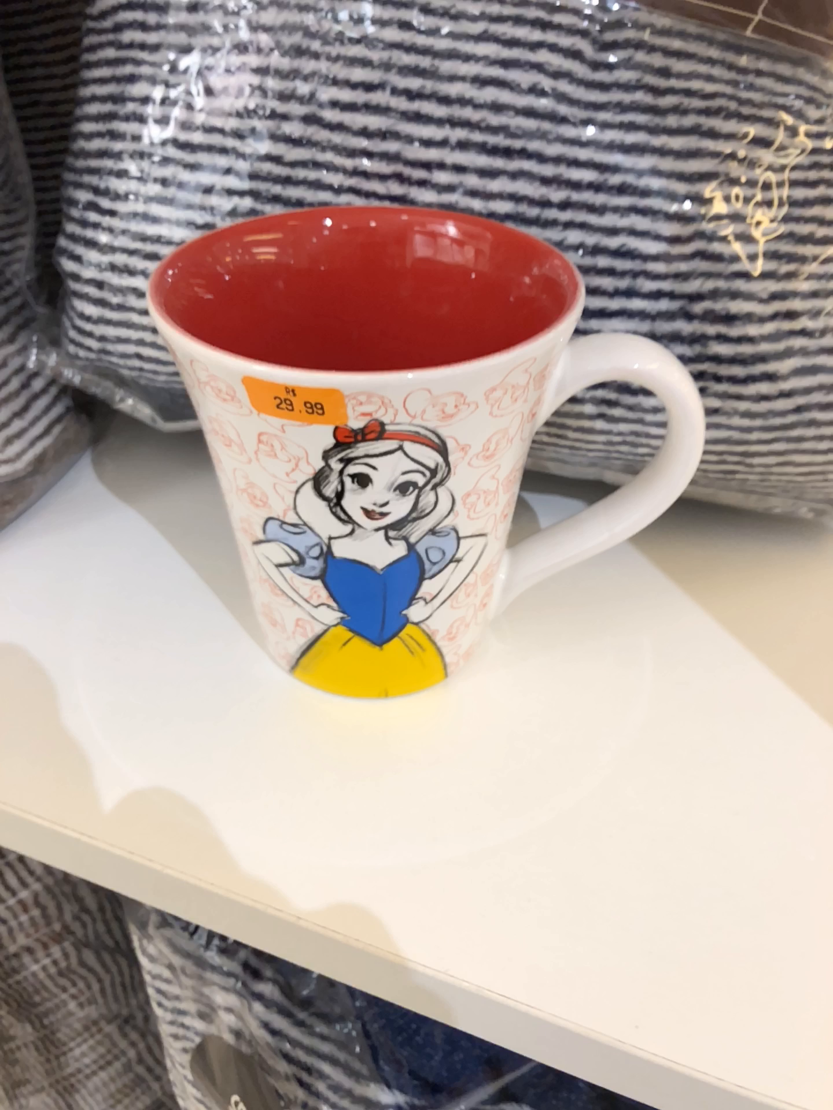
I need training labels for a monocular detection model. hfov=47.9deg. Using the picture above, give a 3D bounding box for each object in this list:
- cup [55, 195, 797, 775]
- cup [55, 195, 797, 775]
[{"bbox_3d":[0.004,-0.020,0.214,0.120,0.089,0.091,4,39,4],"label":"cup"},{"bbox_3d":[0.004,-0.020,0.214,0.120,0.089,0.091,4,39,4],"label":"cup"}]
